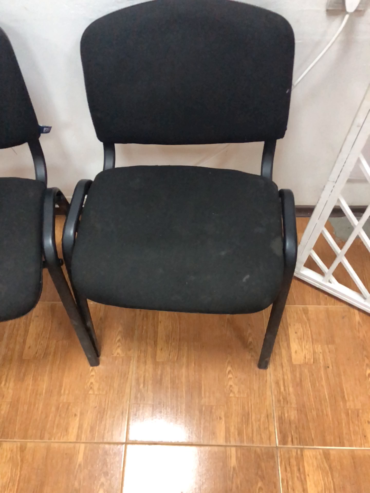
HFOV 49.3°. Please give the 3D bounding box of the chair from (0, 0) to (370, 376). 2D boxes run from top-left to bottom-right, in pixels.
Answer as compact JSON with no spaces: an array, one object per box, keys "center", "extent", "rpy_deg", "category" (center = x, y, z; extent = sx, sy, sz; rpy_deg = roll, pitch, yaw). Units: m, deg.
[{"center":[0.012,-0.102,1.001],"extent":[0.570,0.688,0.622],"rpy_deg":[3,58,3],"category":"chair"}]
